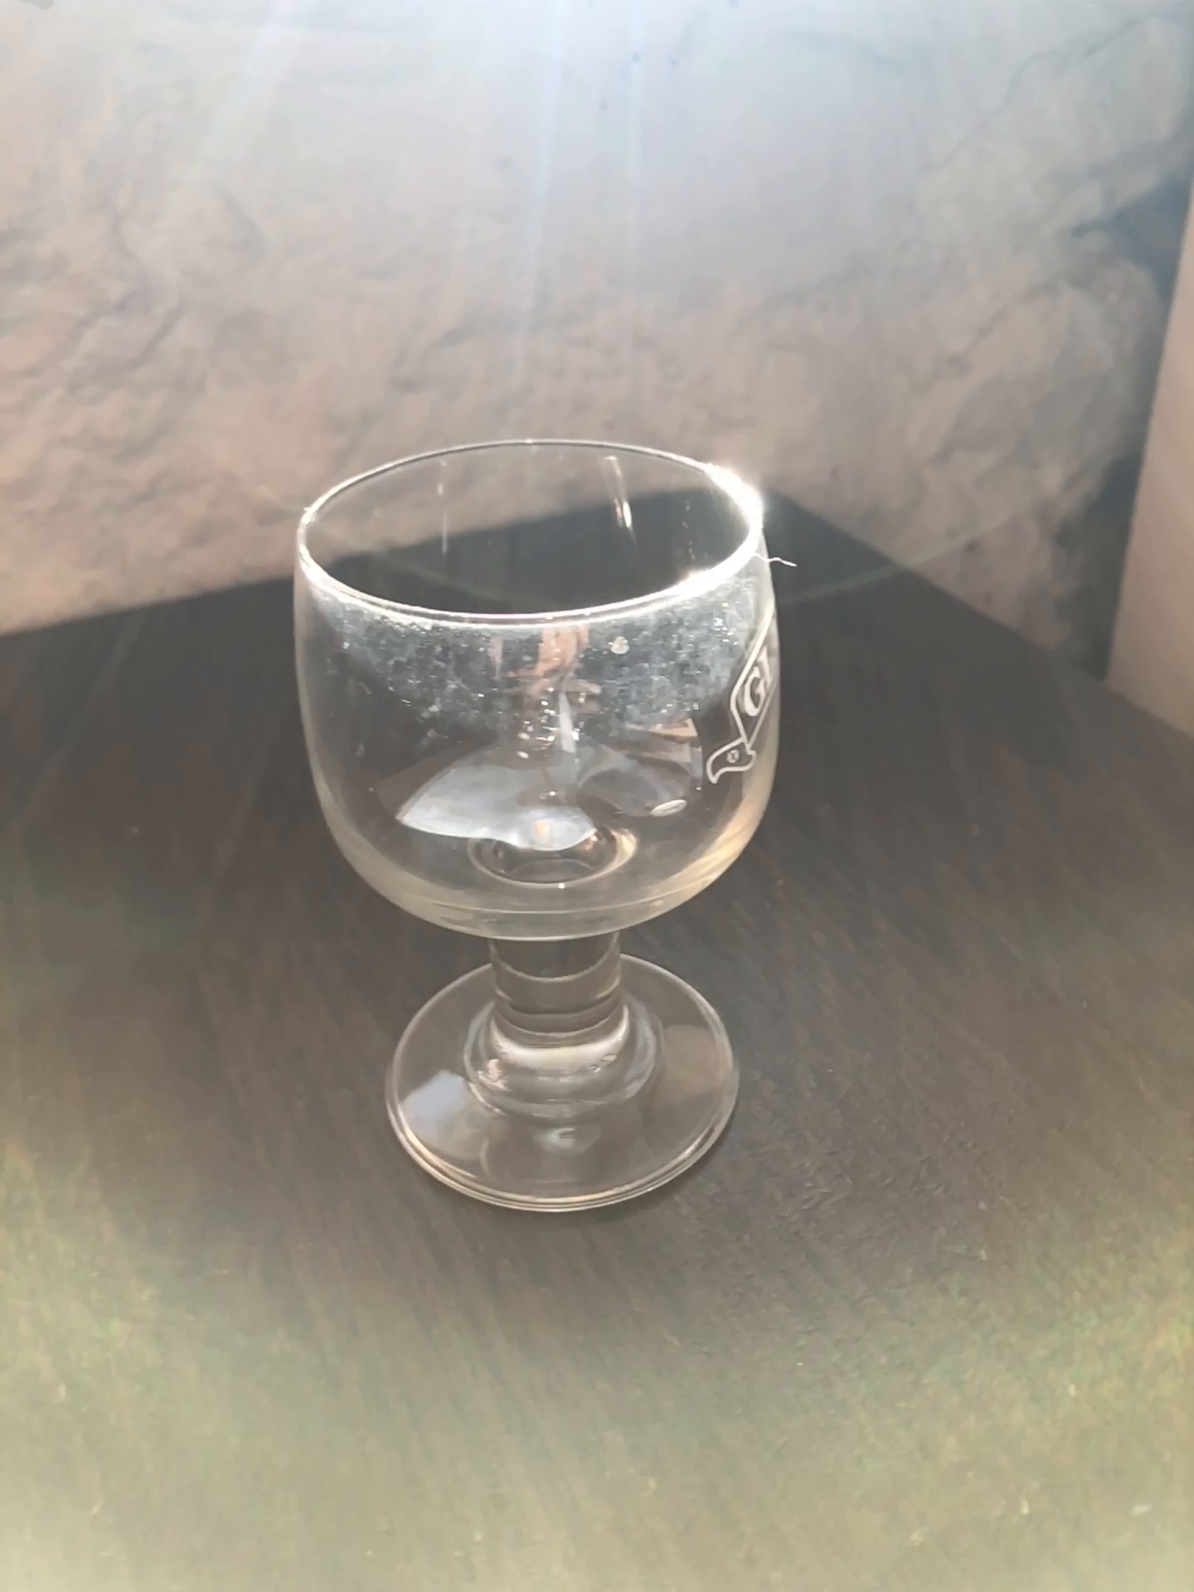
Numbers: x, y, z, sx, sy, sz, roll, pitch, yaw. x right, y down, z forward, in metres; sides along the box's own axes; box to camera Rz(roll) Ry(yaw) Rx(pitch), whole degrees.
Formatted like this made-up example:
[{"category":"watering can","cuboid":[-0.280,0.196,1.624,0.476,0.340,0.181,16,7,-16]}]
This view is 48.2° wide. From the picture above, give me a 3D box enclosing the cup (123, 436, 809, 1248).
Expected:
[{"category":"cup","cuboid":[-0.010,0.004,0.225,0.085,0.107,0.078,-2,31,1]}]
